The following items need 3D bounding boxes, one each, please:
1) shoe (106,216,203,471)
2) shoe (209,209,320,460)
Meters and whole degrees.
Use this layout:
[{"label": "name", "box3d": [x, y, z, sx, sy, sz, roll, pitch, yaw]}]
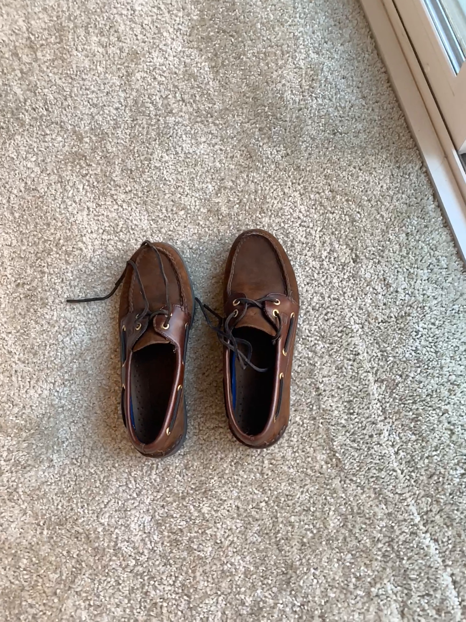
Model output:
[{"label": "shoe", "box3d": [-0.107, 0.044, 0.656, 0.100, 0.100, 0.320, -5, 77, 5]}, {"label": "shoe", "box3d": [0.039, 0.032, 0.625, 0.110, 0.100, 0.300, -5, 77, 5]}]
